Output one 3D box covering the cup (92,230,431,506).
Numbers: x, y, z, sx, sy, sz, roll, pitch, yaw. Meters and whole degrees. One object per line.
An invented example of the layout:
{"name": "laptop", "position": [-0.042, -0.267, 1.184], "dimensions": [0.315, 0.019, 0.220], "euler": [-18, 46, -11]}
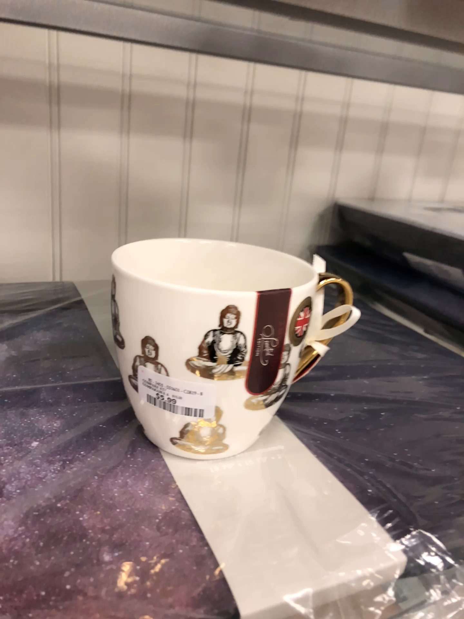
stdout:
{"name": "cup", "position": [0.009, 0.015, 0.272], "dimensions": [0.137, 0.089, 0.100], "euler": [-6, 23, -30]}
